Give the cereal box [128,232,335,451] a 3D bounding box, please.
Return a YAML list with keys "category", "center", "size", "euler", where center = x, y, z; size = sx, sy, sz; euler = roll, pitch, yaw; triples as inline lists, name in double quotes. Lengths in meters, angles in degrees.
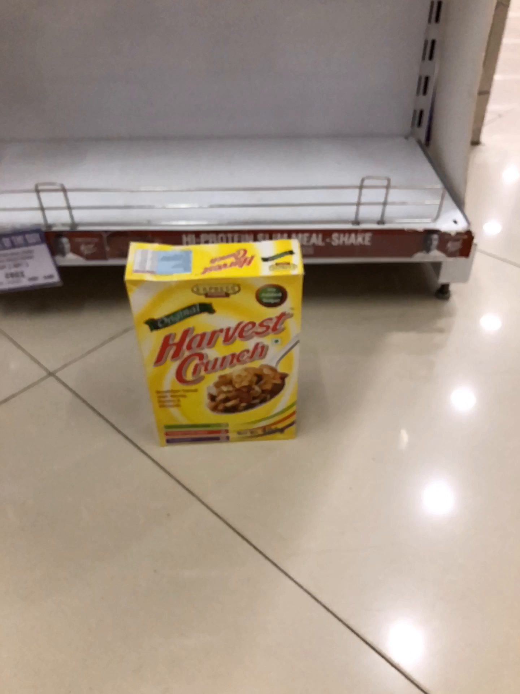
- category: "cereal box"
  center: [-0.022, 0.003, 0.535]
  size: [0.160, 0.209, 0.050]
  euler: [-3, 40, -3]
